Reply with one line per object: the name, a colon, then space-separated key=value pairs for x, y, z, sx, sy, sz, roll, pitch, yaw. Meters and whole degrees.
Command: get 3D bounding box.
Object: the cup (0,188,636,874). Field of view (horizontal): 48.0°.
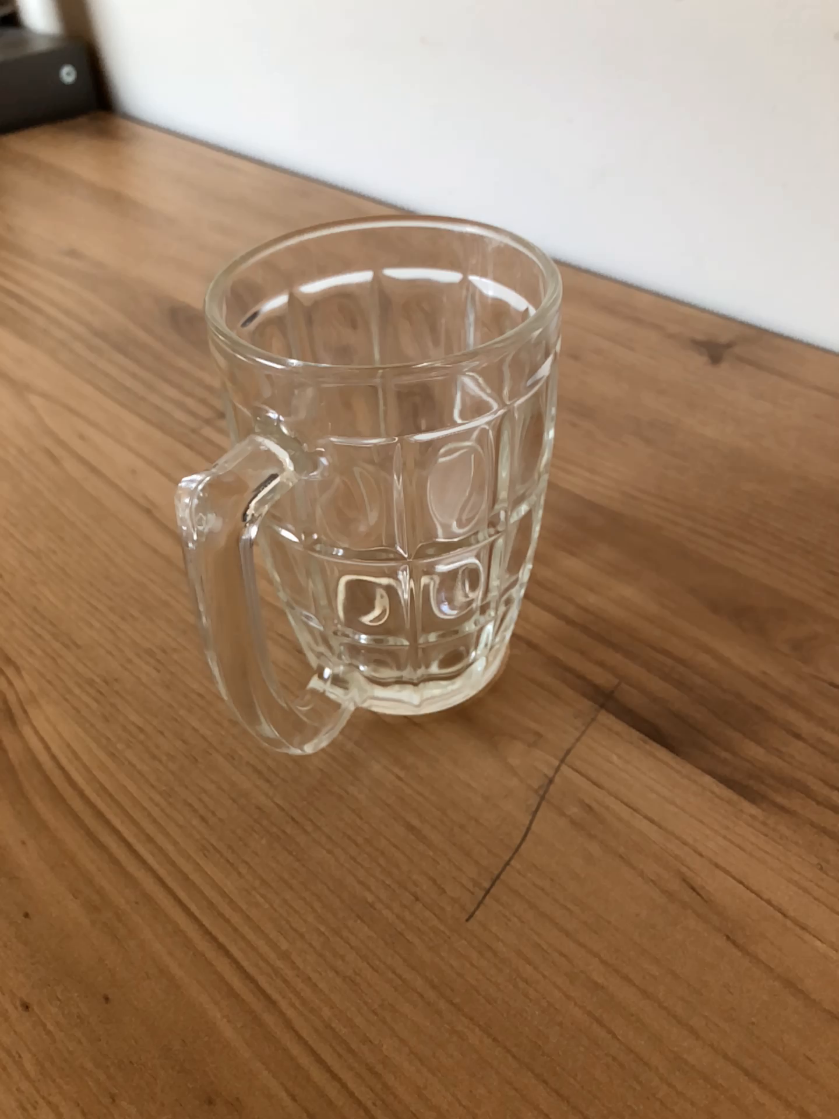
cup: x=-0.014 y=-0.017 z=0.235 sx=0.088 sy=0.102 sz=0.120 roll=19 pitch=45 yaw=26
